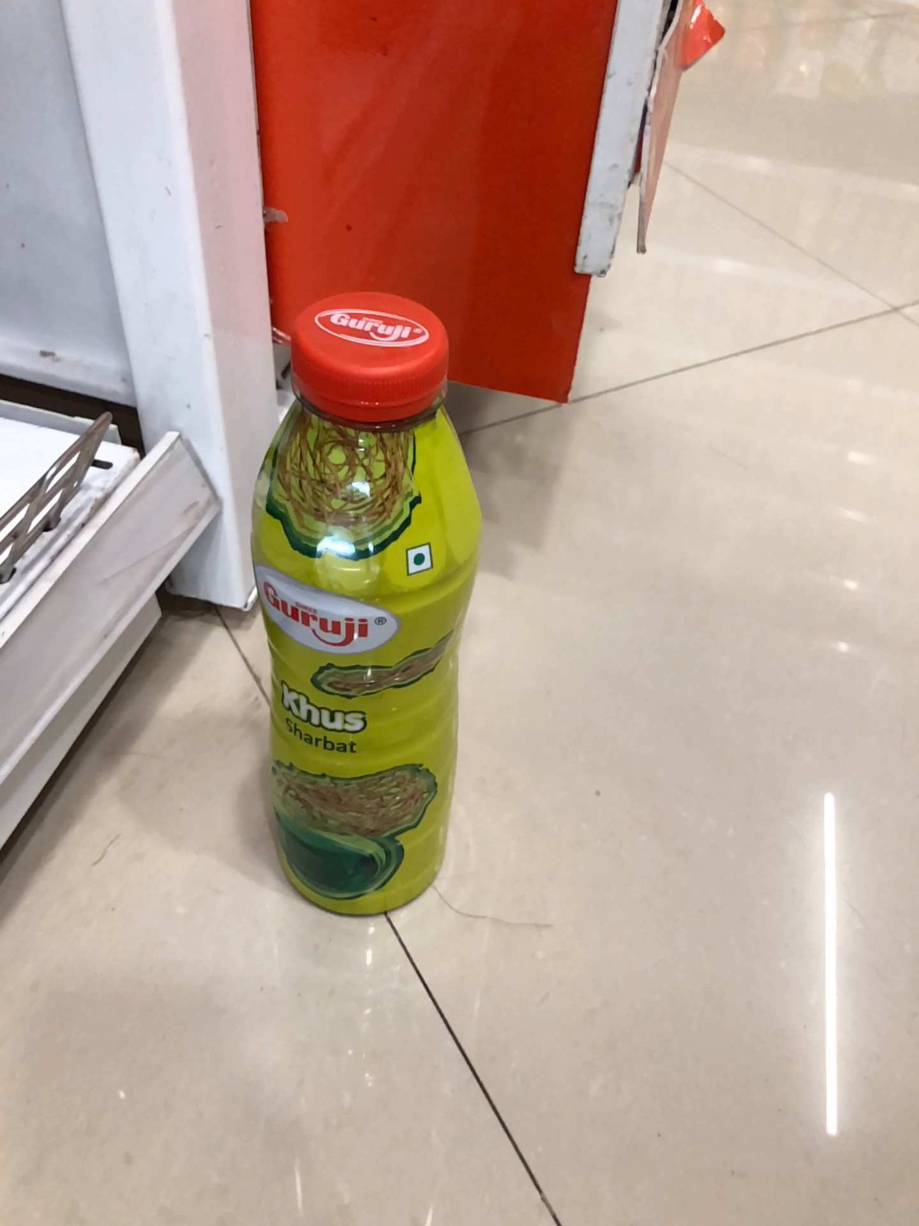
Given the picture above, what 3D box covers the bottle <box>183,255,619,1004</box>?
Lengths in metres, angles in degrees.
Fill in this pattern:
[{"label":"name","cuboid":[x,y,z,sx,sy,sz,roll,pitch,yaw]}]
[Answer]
[{"label":"bottle","cuboid":[-0.013,0.021,0.336,0.080,0.238,0.081,1,43,-1]}]
